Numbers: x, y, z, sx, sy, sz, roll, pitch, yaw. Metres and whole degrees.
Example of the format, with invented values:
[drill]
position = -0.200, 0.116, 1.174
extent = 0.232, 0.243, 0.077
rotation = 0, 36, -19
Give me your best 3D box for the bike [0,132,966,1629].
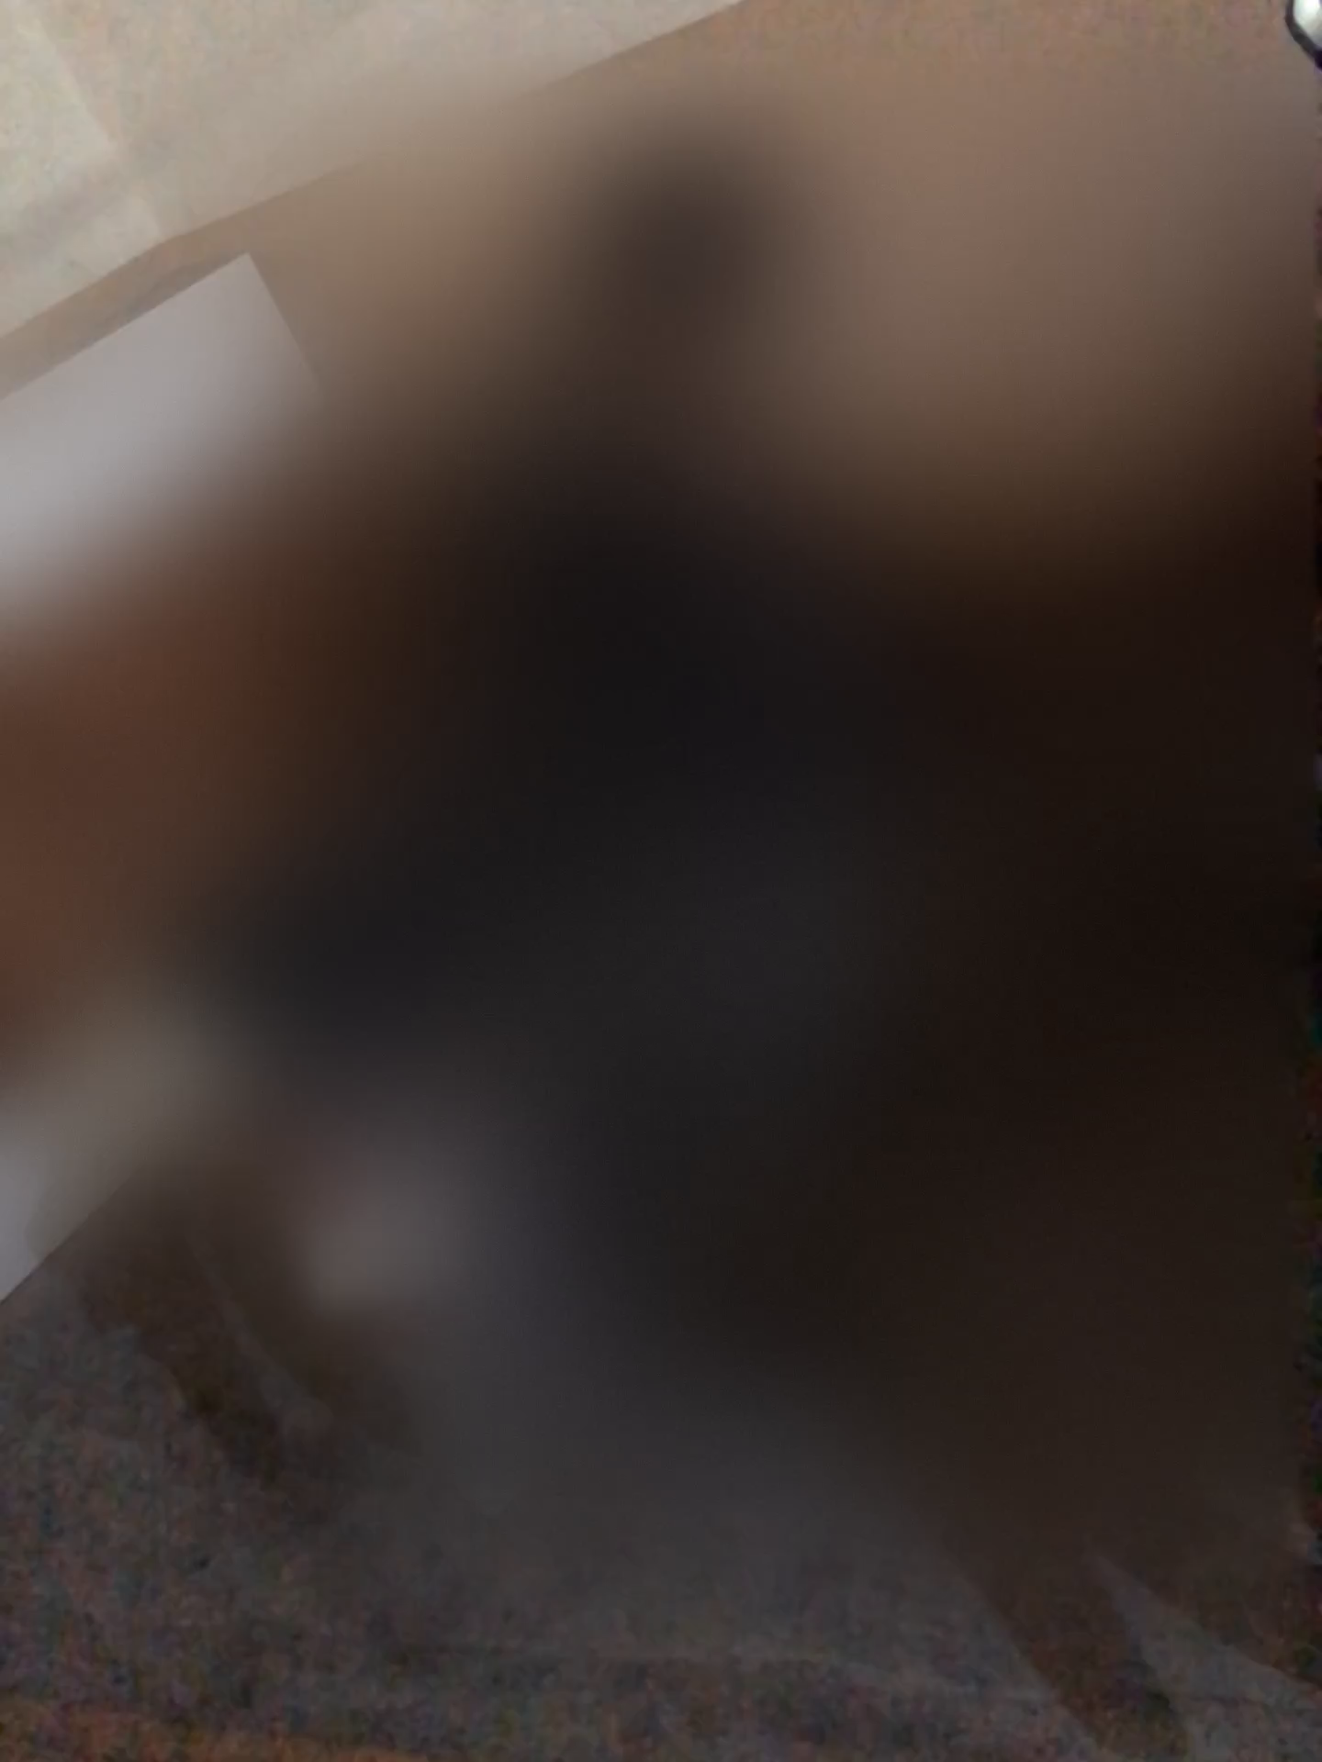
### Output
[bike]
position = -0.122, -0.120, 1.995
extent = 0.718, 1.179, 1.710
rotation = -11, 34, 23
